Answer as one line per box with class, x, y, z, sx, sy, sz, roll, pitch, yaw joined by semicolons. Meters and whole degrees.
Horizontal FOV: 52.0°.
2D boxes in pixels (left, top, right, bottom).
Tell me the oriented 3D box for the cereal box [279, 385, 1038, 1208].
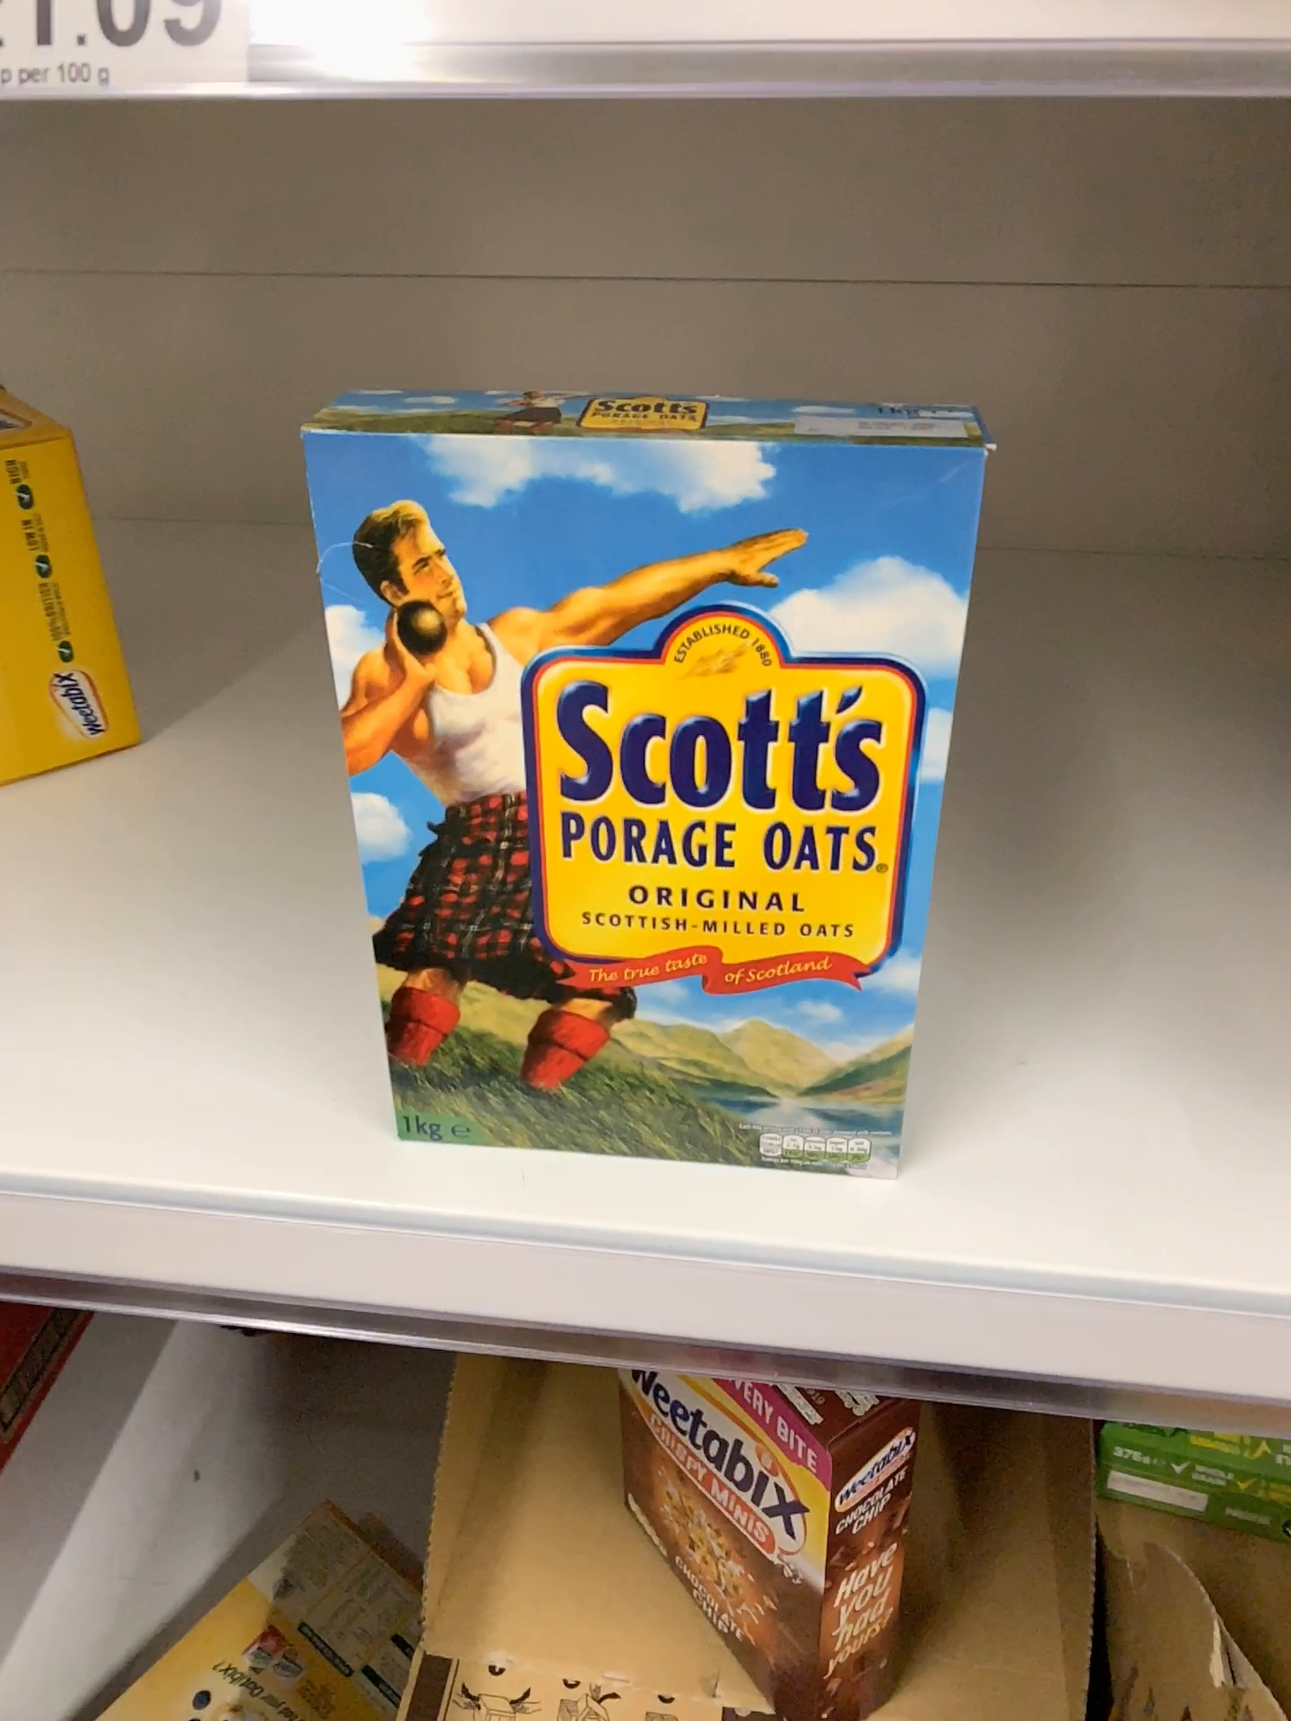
cereal box;0.006;-0.012;0.447;0.200;0.267;0.071;3;32;6
